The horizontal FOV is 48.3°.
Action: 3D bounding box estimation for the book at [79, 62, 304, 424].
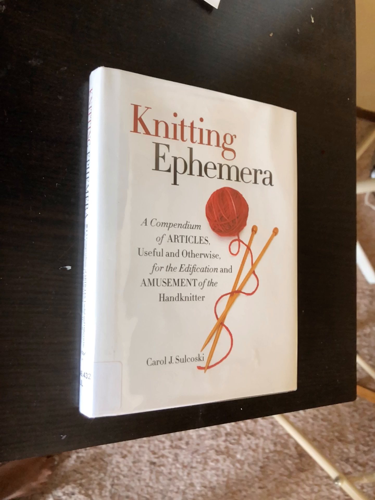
[{"bbox_3d":[0.007,-0.002,0.248,0.133,0.029,0.178,2,87,-26],"label":"book"}]
